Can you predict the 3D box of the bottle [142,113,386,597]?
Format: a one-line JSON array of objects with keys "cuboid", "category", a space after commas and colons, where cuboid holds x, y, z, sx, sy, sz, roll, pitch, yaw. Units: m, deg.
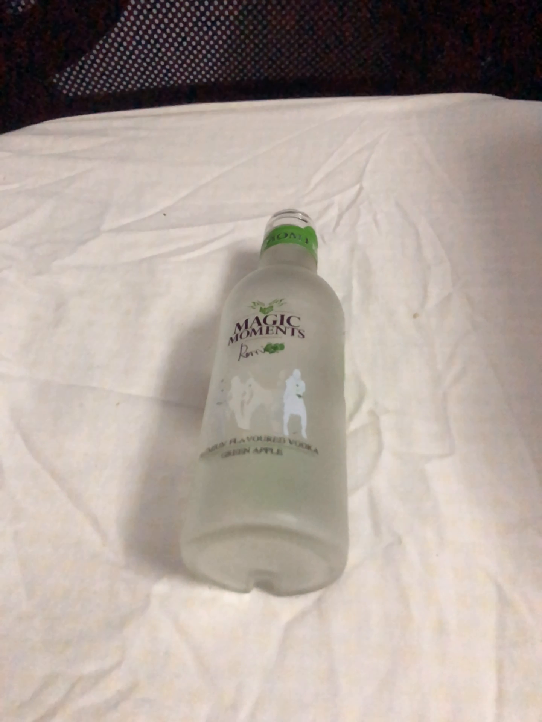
[{"cuboid": [0.005, -0.015, 0.225, 0.060, 0.060, 0.181, 1, 53, 4], "category": "bottle"}]
